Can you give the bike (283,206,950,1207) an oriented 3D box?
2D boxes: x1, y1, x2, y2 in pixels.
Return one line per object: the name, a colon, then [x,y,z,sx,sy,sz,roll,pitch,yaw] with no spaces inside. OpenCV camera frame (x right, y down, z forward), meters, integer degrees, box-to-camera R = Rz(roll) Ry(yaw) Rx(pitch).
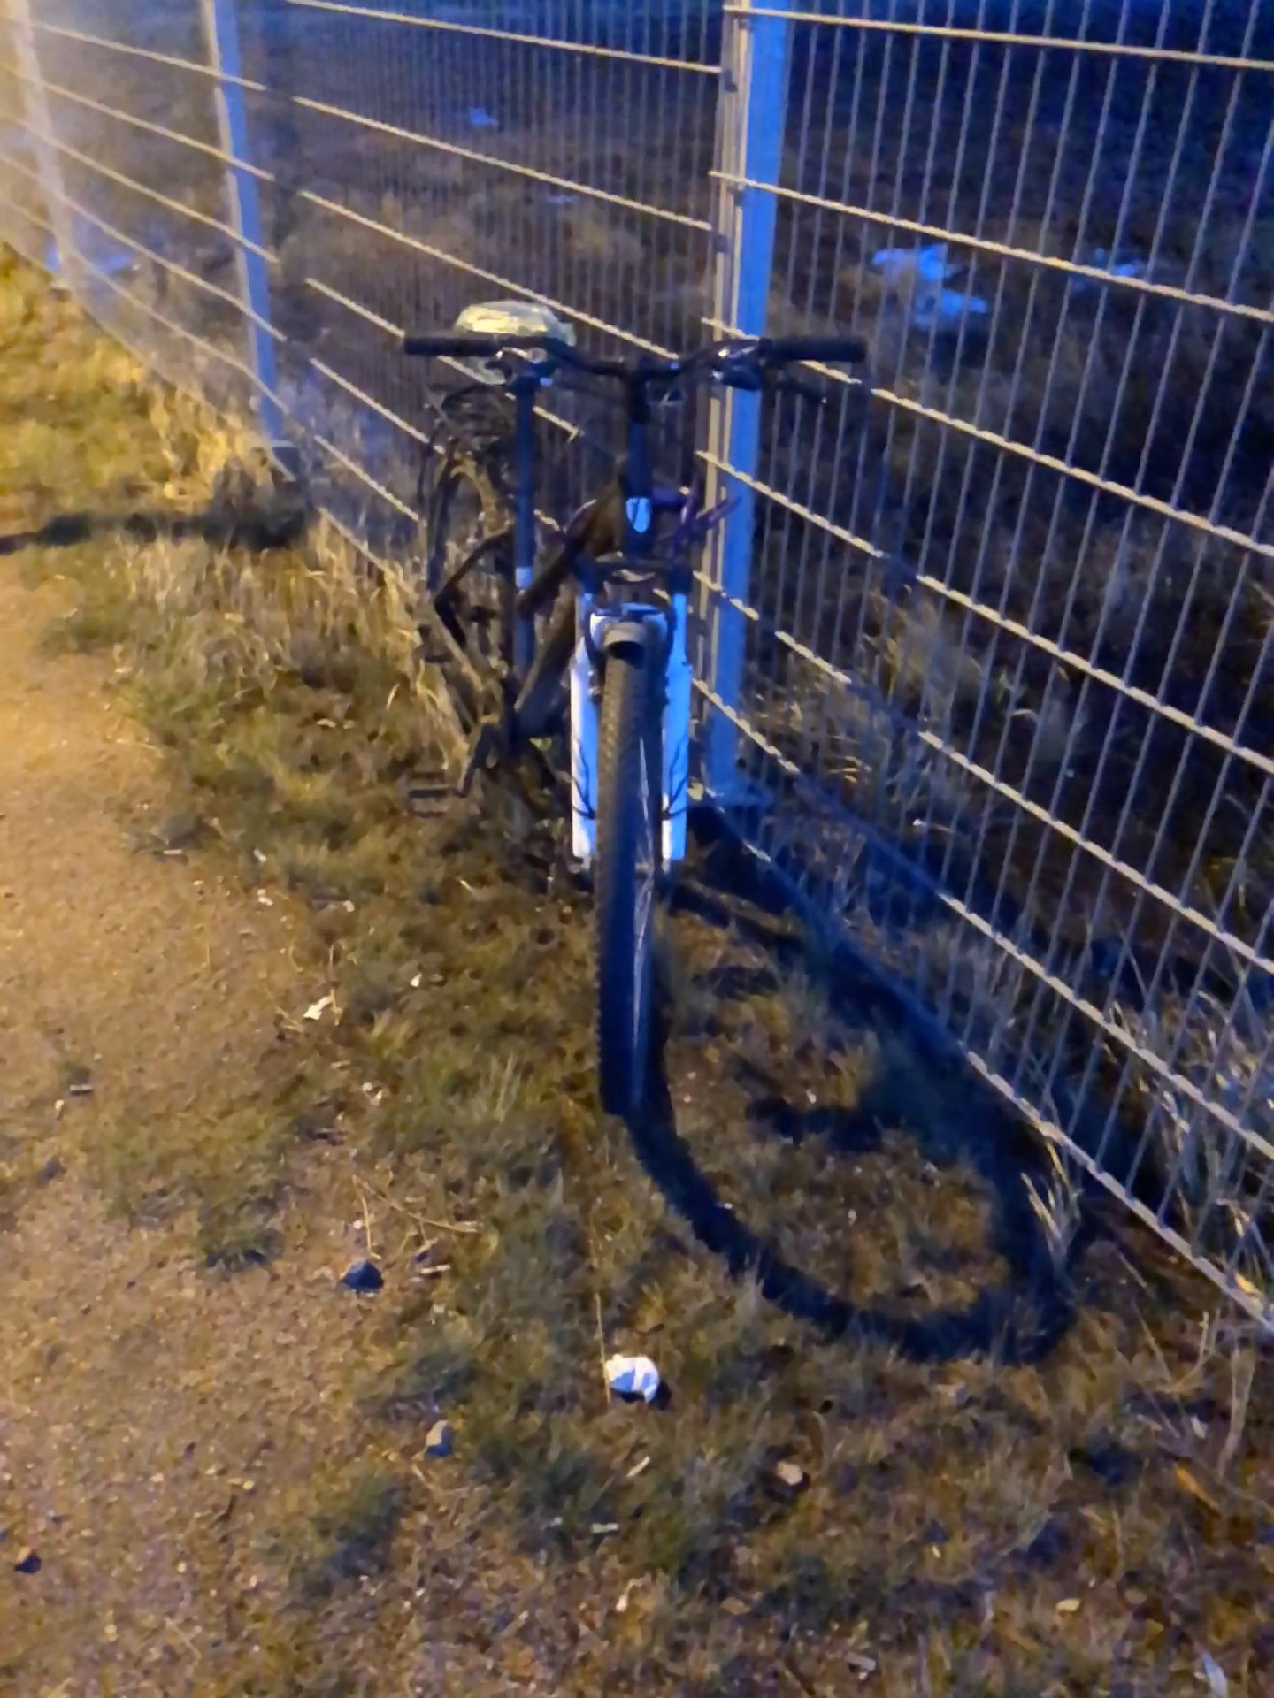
bike: [-0.179,-0.402,2.167,0.569,0.946,1.593,-7,32,-13]
